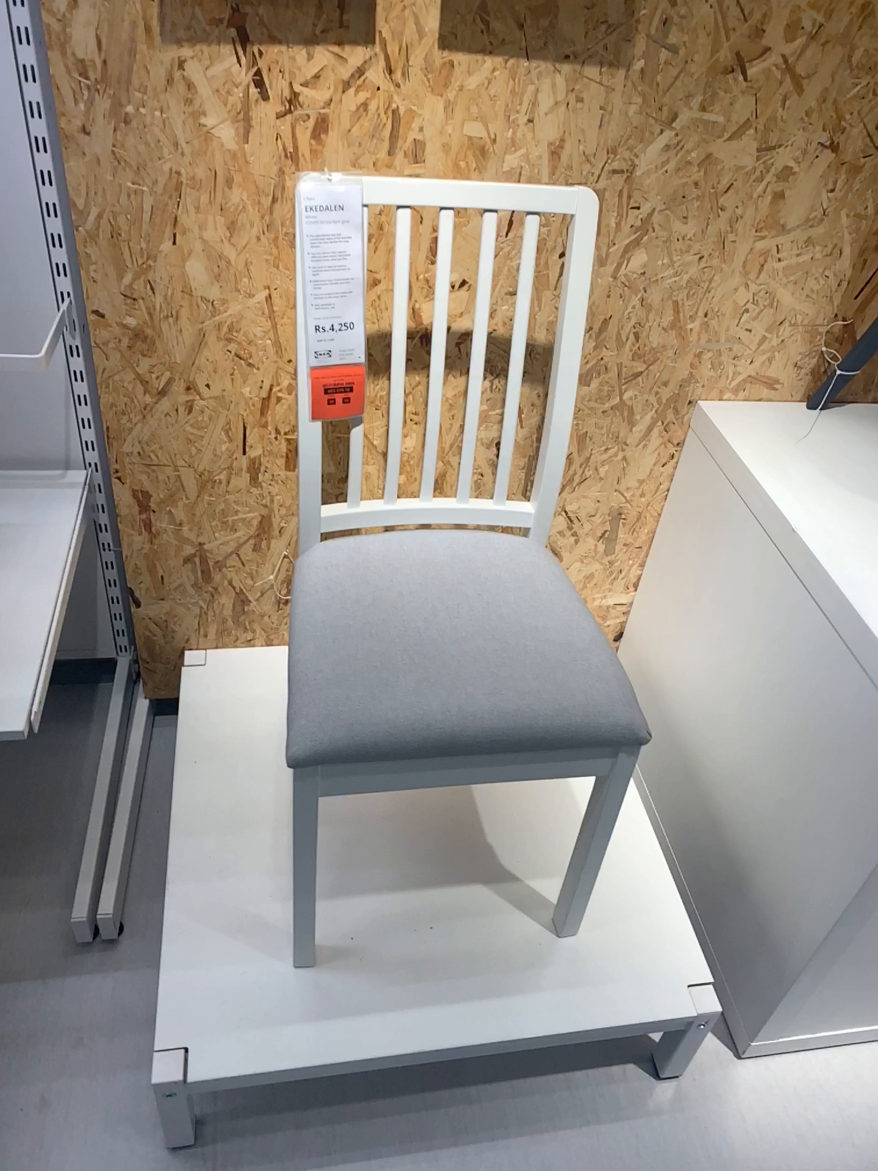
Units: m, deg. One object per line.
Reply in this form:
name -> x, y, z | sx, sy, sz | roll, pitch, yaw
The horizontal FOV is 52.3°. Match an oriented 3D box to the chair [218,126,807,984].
chair -> -0.023, -0.002, 1.101 | 0.430, 0.886, 0.512 | -2, 40, -11
